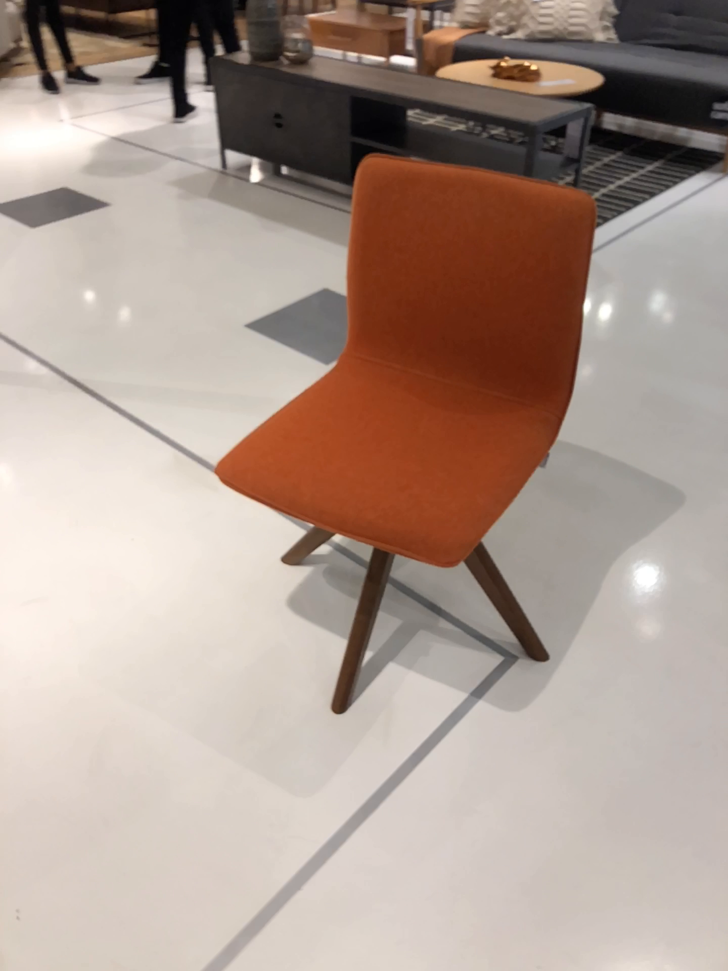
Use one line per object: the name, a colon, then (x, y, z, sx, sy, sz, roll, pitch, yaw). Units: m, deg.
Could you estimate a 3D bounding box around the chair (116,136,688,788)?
chair: (0.087, -0.080, 1.402, 0.611, 0.794, 0.614, 19, 41, 24)
